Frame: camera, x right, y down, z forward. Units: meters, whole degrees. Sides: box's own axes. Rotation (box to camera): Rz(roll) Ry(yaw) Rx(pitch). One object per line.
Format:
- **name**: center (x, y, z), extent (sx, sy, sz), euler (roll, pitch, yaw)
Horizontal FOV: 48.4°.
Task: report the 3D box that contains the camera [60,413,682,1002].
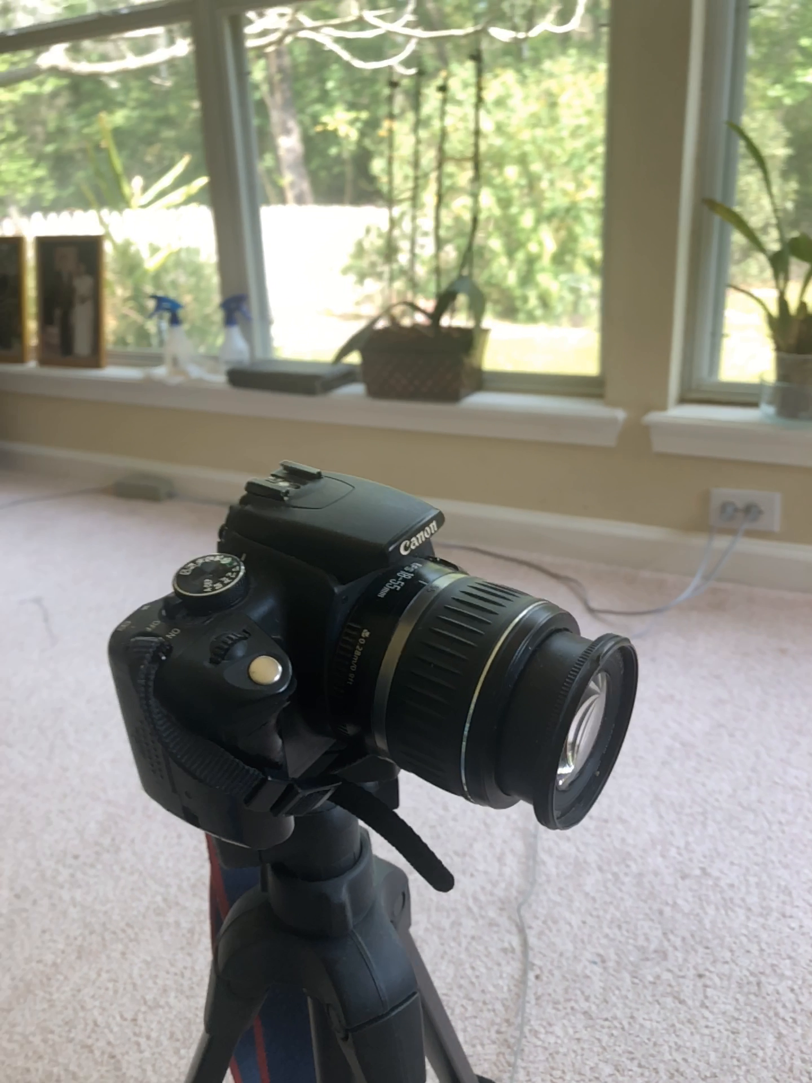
- **camera**: center (-0.005, 0.036, 0.300), extent (0.142, 0.093, 0.131), euler (17, 35, 29)
